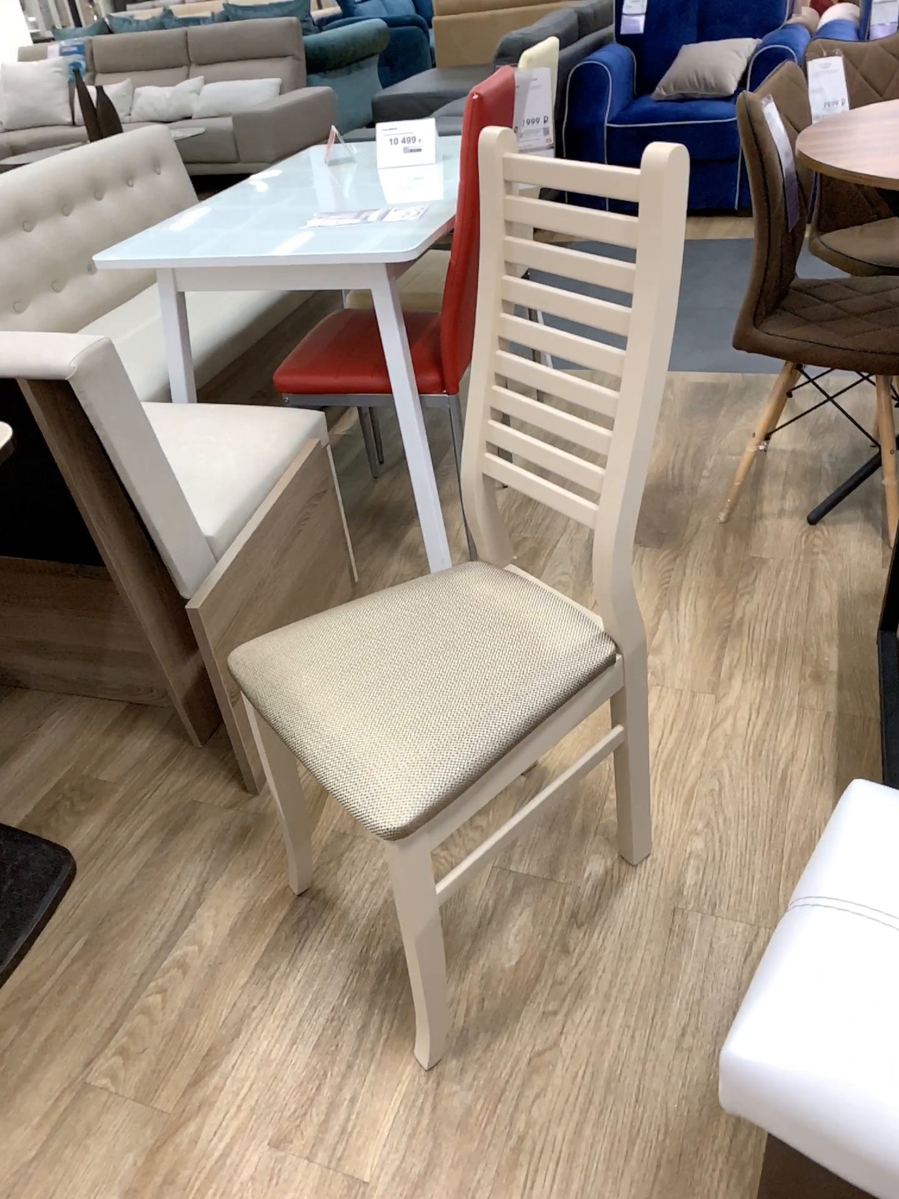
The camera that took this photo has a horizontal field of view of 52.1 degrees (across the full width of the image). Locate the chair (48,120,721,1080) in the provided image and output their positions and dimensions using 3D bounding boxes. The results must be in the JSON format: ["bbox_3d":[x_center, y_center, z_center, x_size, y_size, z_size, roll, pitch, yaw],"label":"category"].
[{"bbox_3d":[-0.021,0.018,1.098,0.473,0.970,0.391,-27,39,-26],"label":"chair"}]
